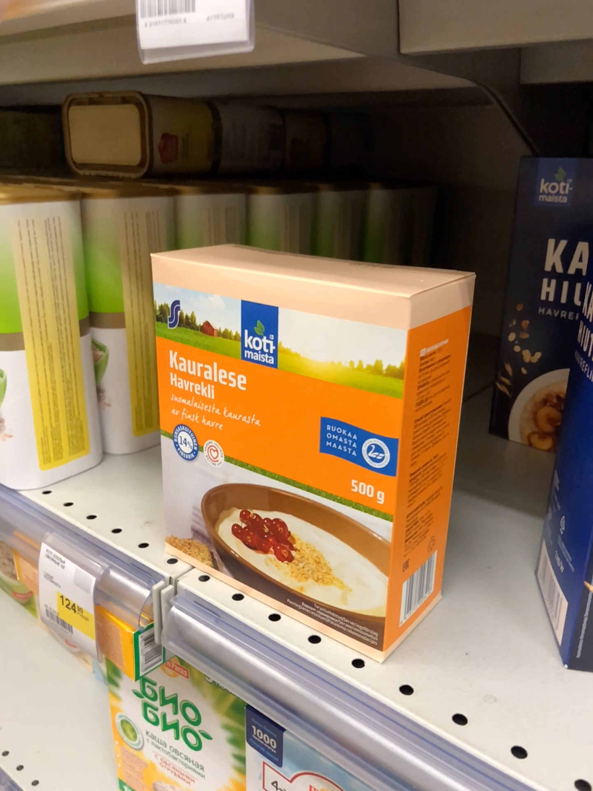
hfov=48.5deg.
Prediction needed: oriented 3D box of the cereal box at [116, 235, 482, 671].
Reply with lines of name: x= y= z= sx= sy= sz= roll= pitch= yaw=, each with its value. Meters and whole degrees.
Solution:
cereal box: x=-0.005 y=0.015 z=0.333 sx=0.160 sy=0.169 sz=0.070 roll=15 pitch=24 yaw=34
